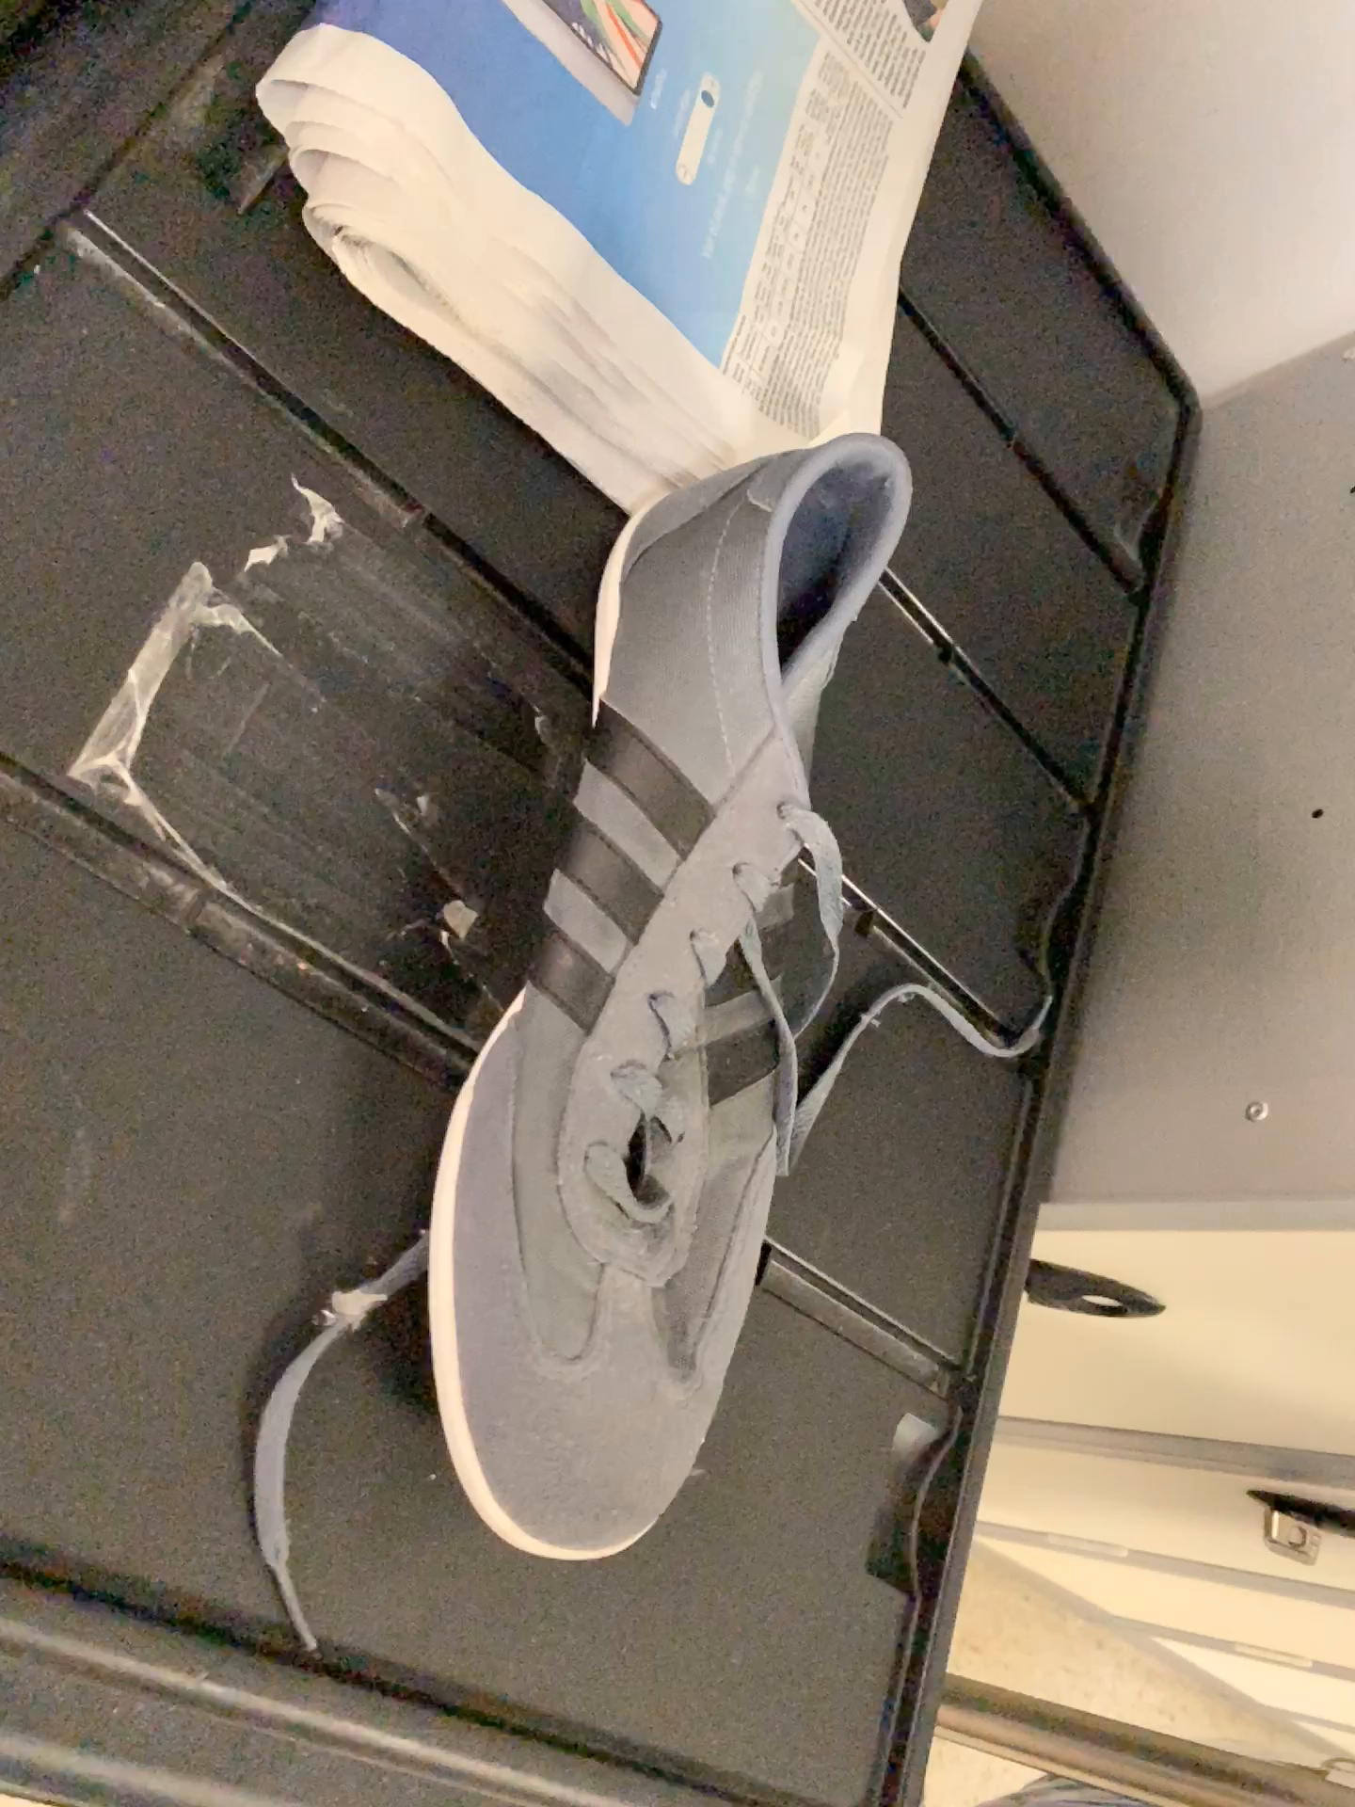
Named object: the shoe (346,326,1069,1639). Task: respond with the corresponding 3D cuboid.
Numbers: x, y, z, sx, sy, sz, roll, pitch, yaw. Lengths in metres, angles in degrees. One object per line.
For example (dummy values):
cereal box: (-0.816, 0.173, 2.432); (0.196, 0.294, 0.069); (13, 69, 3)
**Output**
shoe: (0.022, 0.017, 0.332); (0.114, 0.077, 0.268); (26, 63, -37)
